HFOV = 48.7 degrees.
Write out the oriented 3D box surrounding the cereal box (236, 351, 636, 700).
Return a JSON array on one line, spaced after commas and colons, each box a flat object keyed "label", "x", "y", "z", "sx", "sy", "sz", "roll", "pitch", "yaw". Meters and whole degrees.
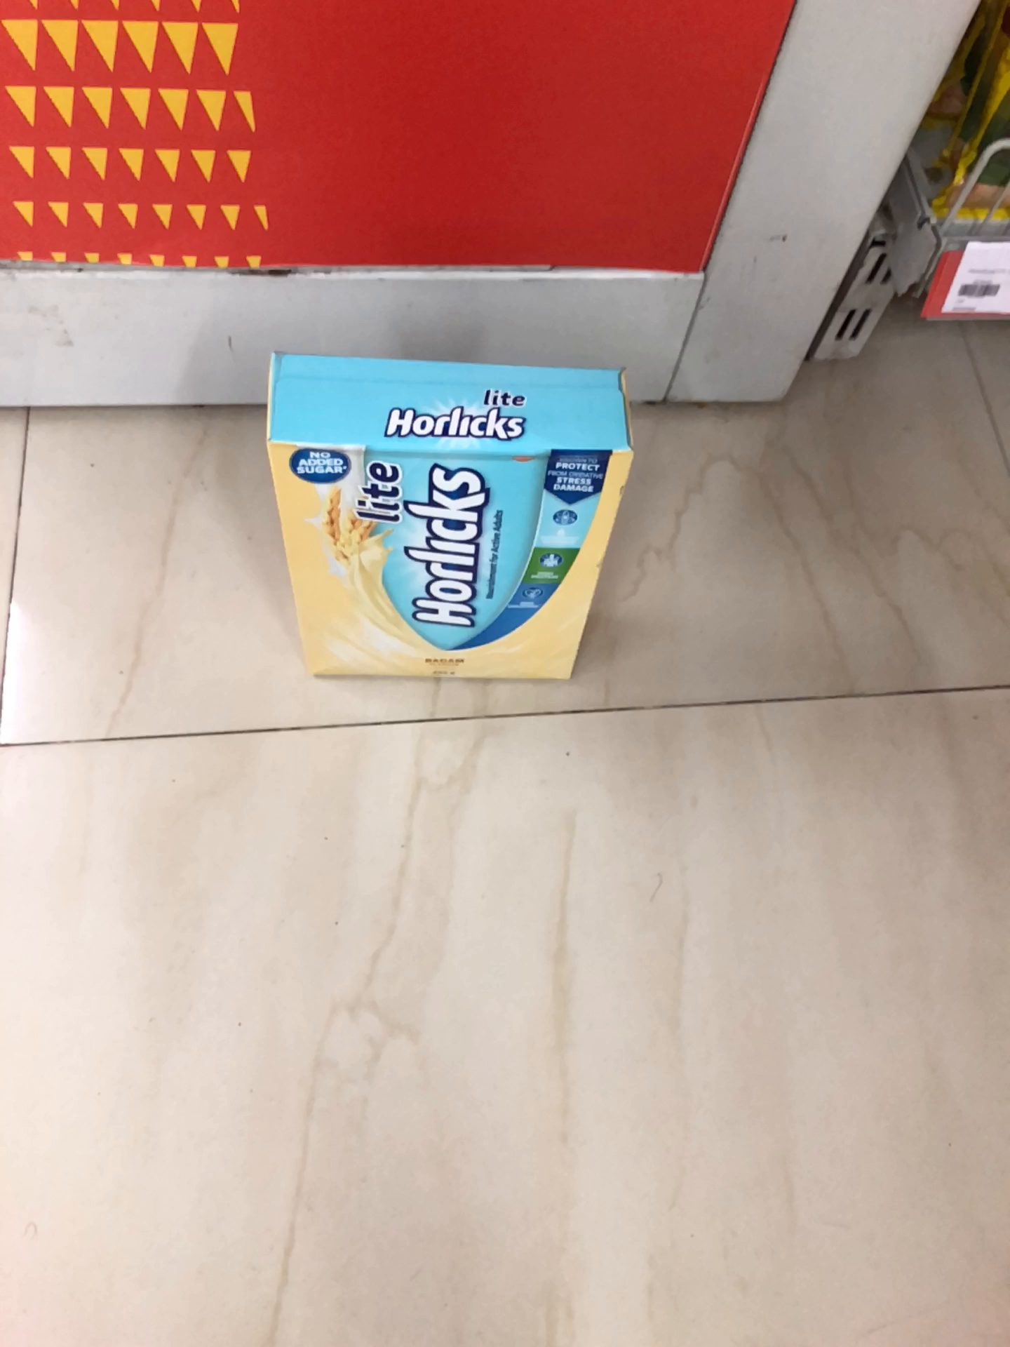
[{"label": "cereal box", "x": -0.035, "y": -0.056, "z": 0.513, "sx": 0.150, "sy": 0.189, "sz": 0.050, "roll": 1, "pitch": 60, "yaw": -6}]
